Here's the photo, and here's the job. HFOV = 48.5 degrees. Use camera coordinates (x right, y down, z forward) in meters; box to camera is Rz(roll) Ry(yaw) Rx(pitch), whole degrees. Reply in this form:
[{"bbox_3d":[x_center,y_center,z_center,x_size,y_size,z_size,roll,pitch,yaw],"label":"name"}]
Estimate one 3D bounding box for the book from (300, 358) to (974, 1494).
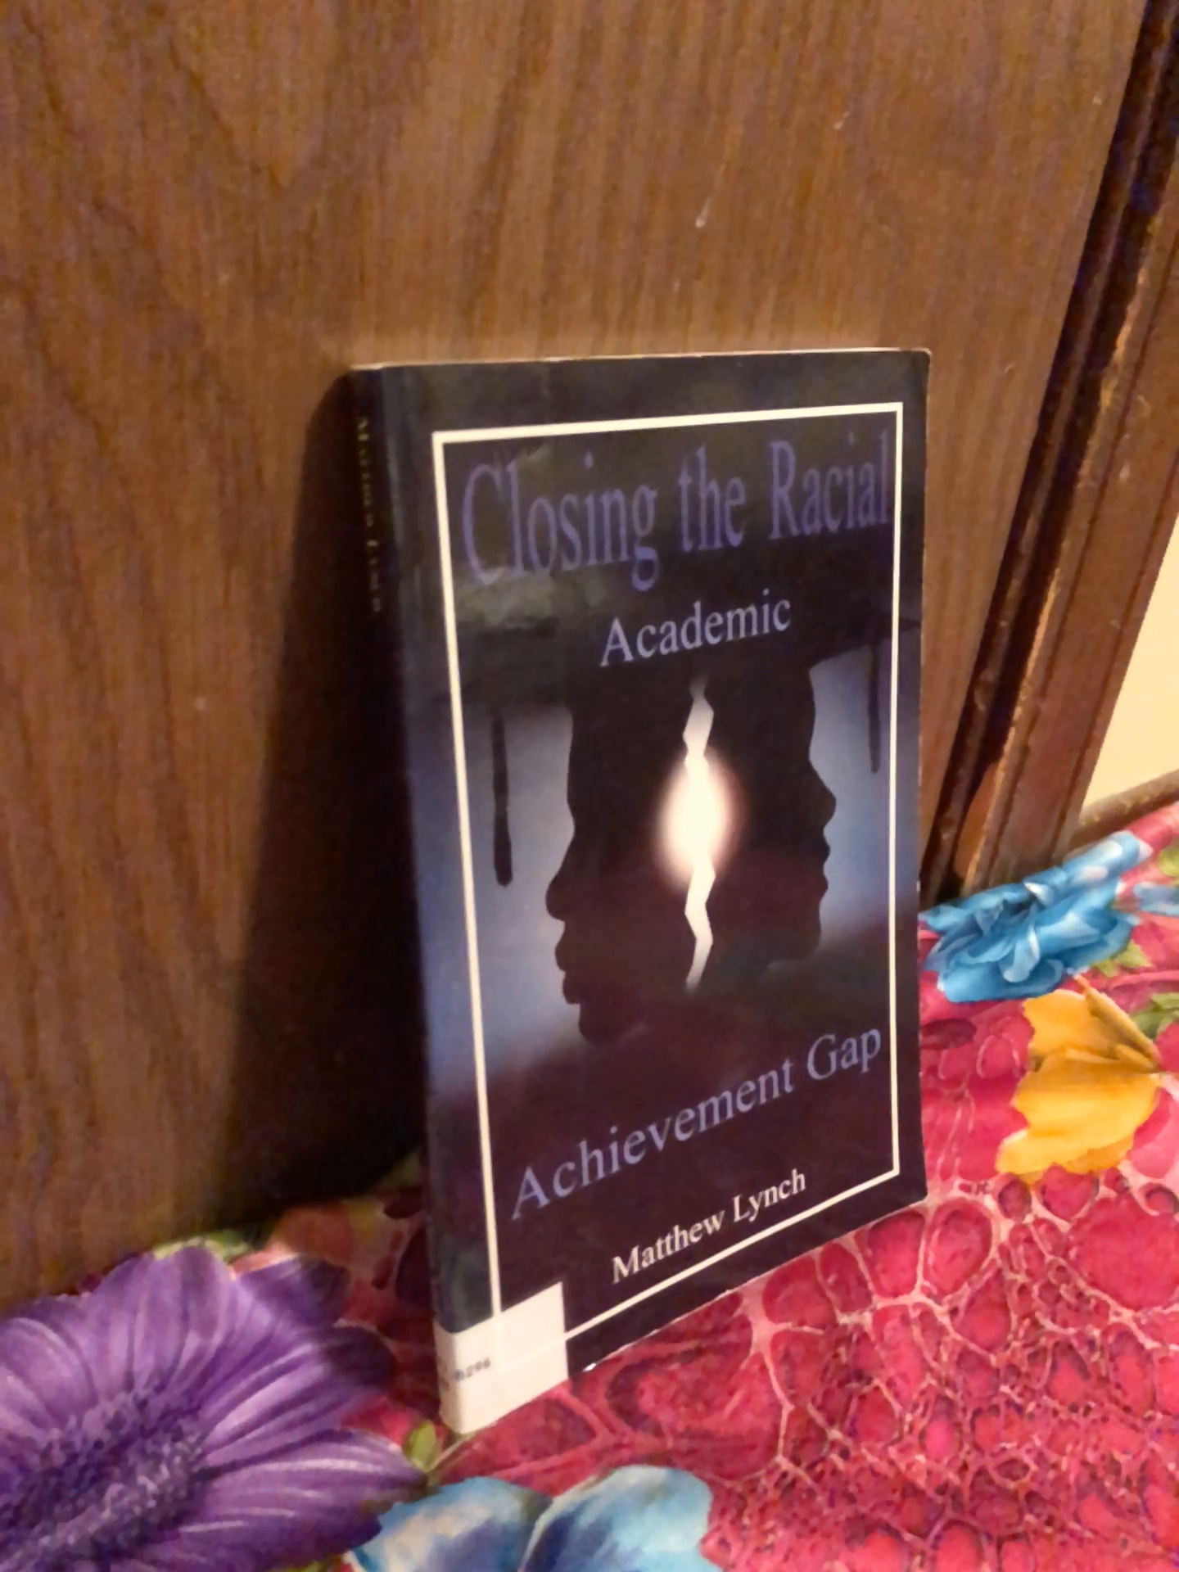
[{"bbox_3d":[0.018,0.024,0.300,0.146,0.230,0.036,-14,22,-34],"label":"book"}]
